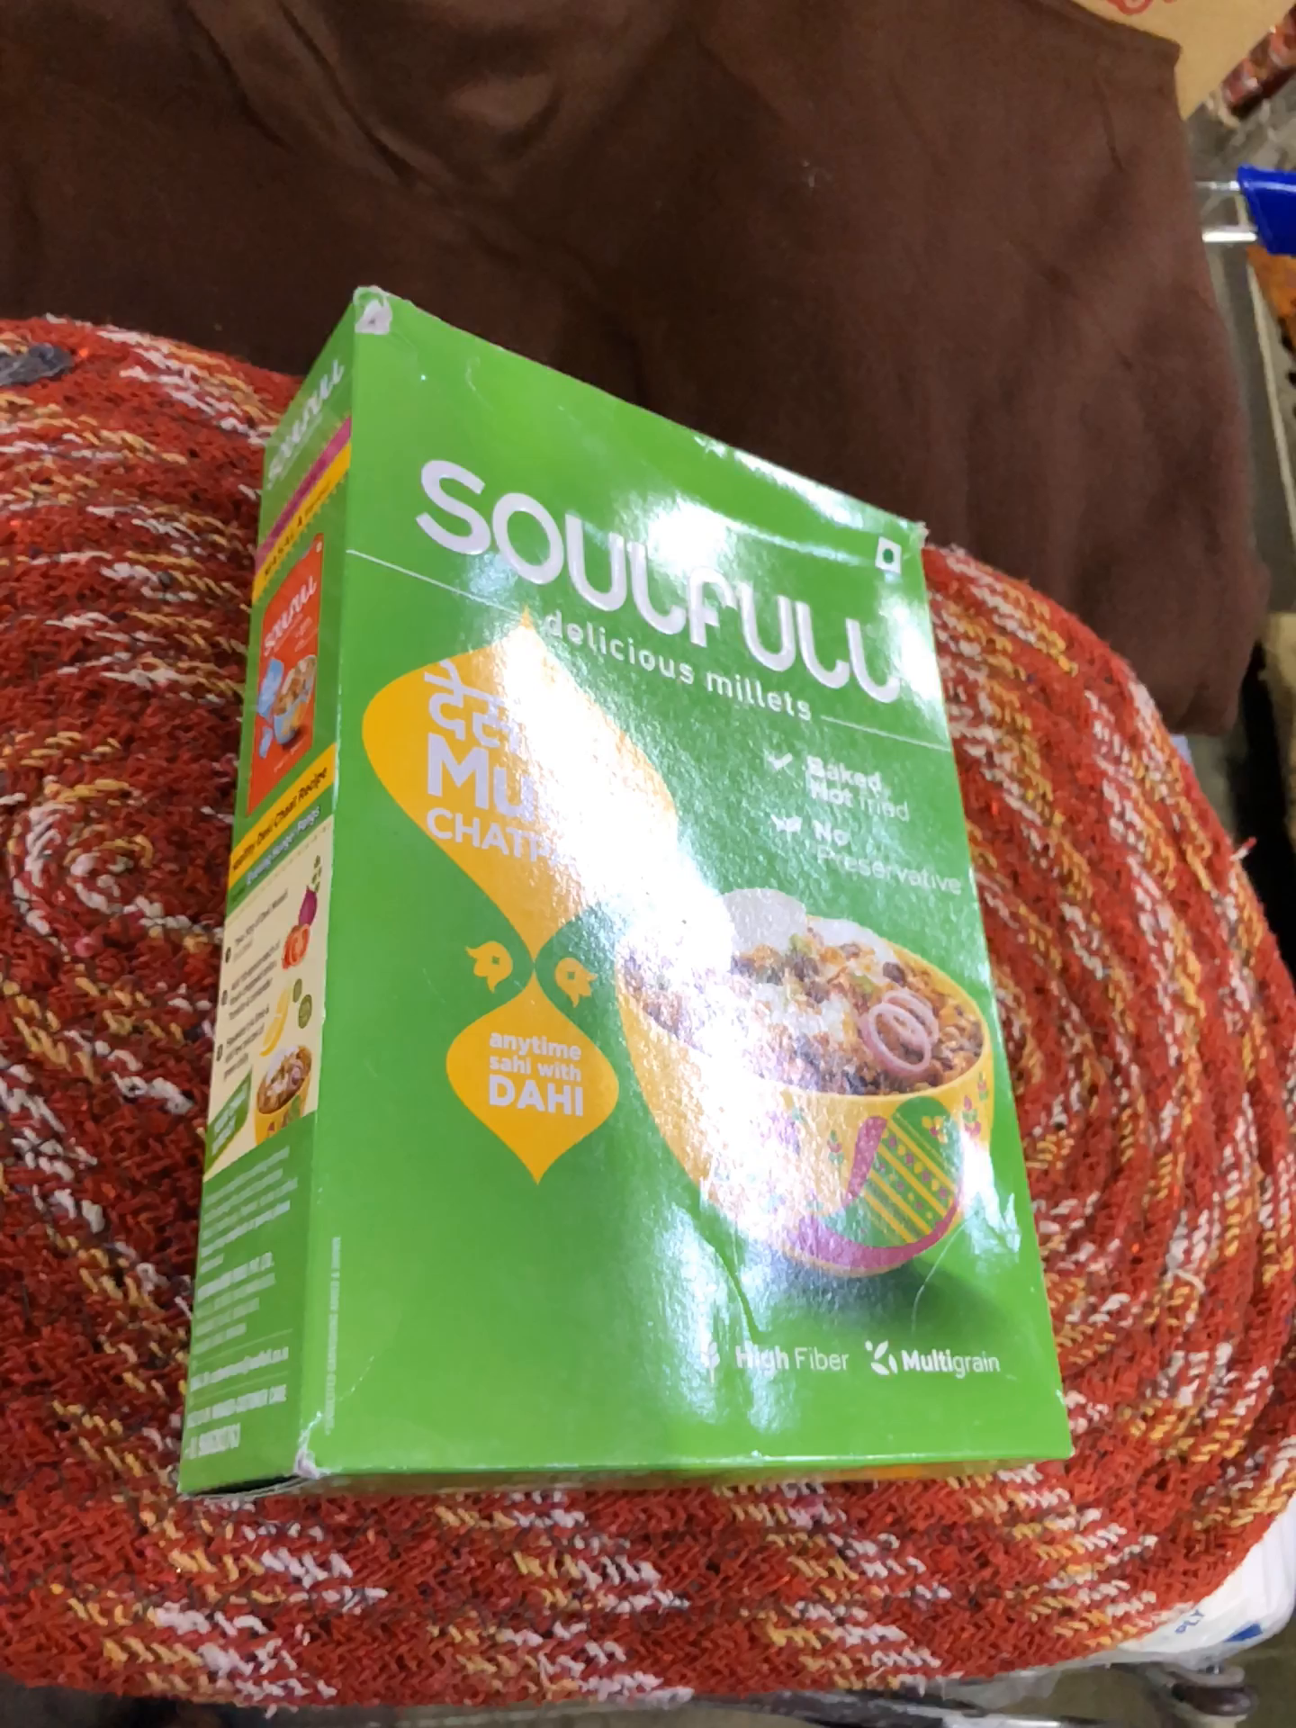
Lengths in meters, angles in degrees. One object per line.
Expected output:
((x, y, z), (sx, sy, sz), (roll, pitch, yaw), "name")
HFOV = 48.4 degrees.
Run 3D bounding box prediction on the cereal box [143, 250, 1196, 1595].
((0.002, 0.010, 0.298), (0.170, 0.060, 0.241), (13, 57, -29), "cereal box")
